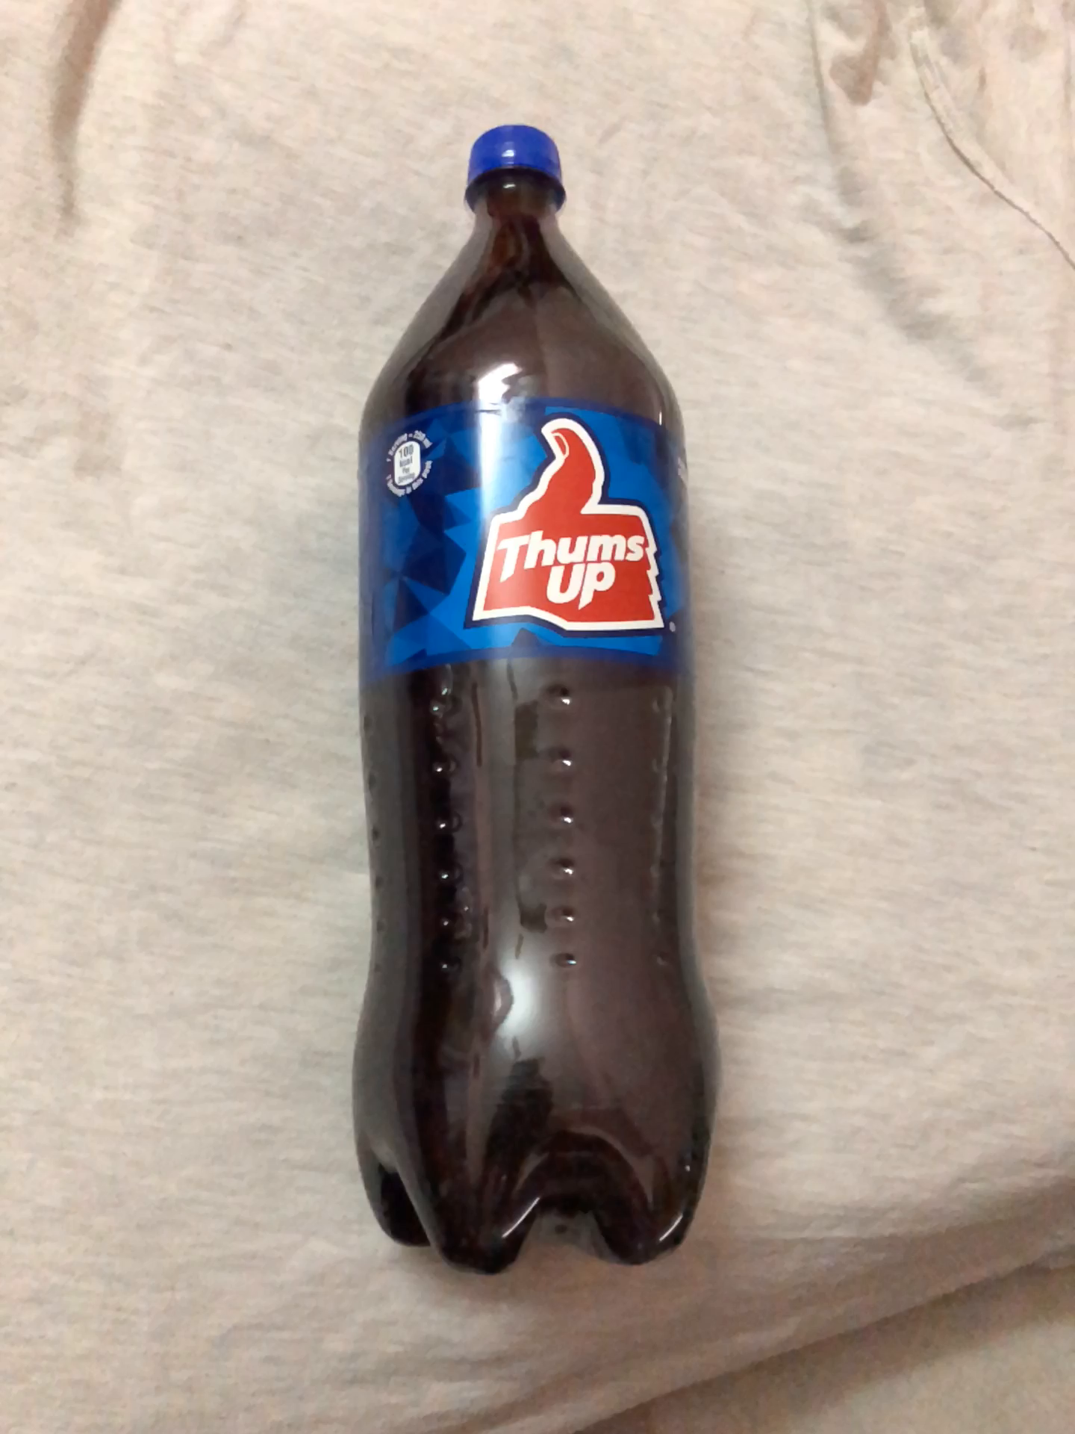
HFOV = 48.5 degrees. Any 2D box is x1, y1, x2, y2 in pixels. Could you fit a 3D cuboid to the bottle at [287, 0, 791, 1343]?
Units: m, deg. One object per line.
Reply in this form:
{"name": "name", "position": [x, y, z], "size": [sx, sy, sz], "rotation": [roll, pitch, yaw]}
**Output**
{"name": "bottle", "position": [-0.009, -0.024, 0.292], "size": [0.100, 0.060, 0.300], "rotation": [1, 79, -13]}
